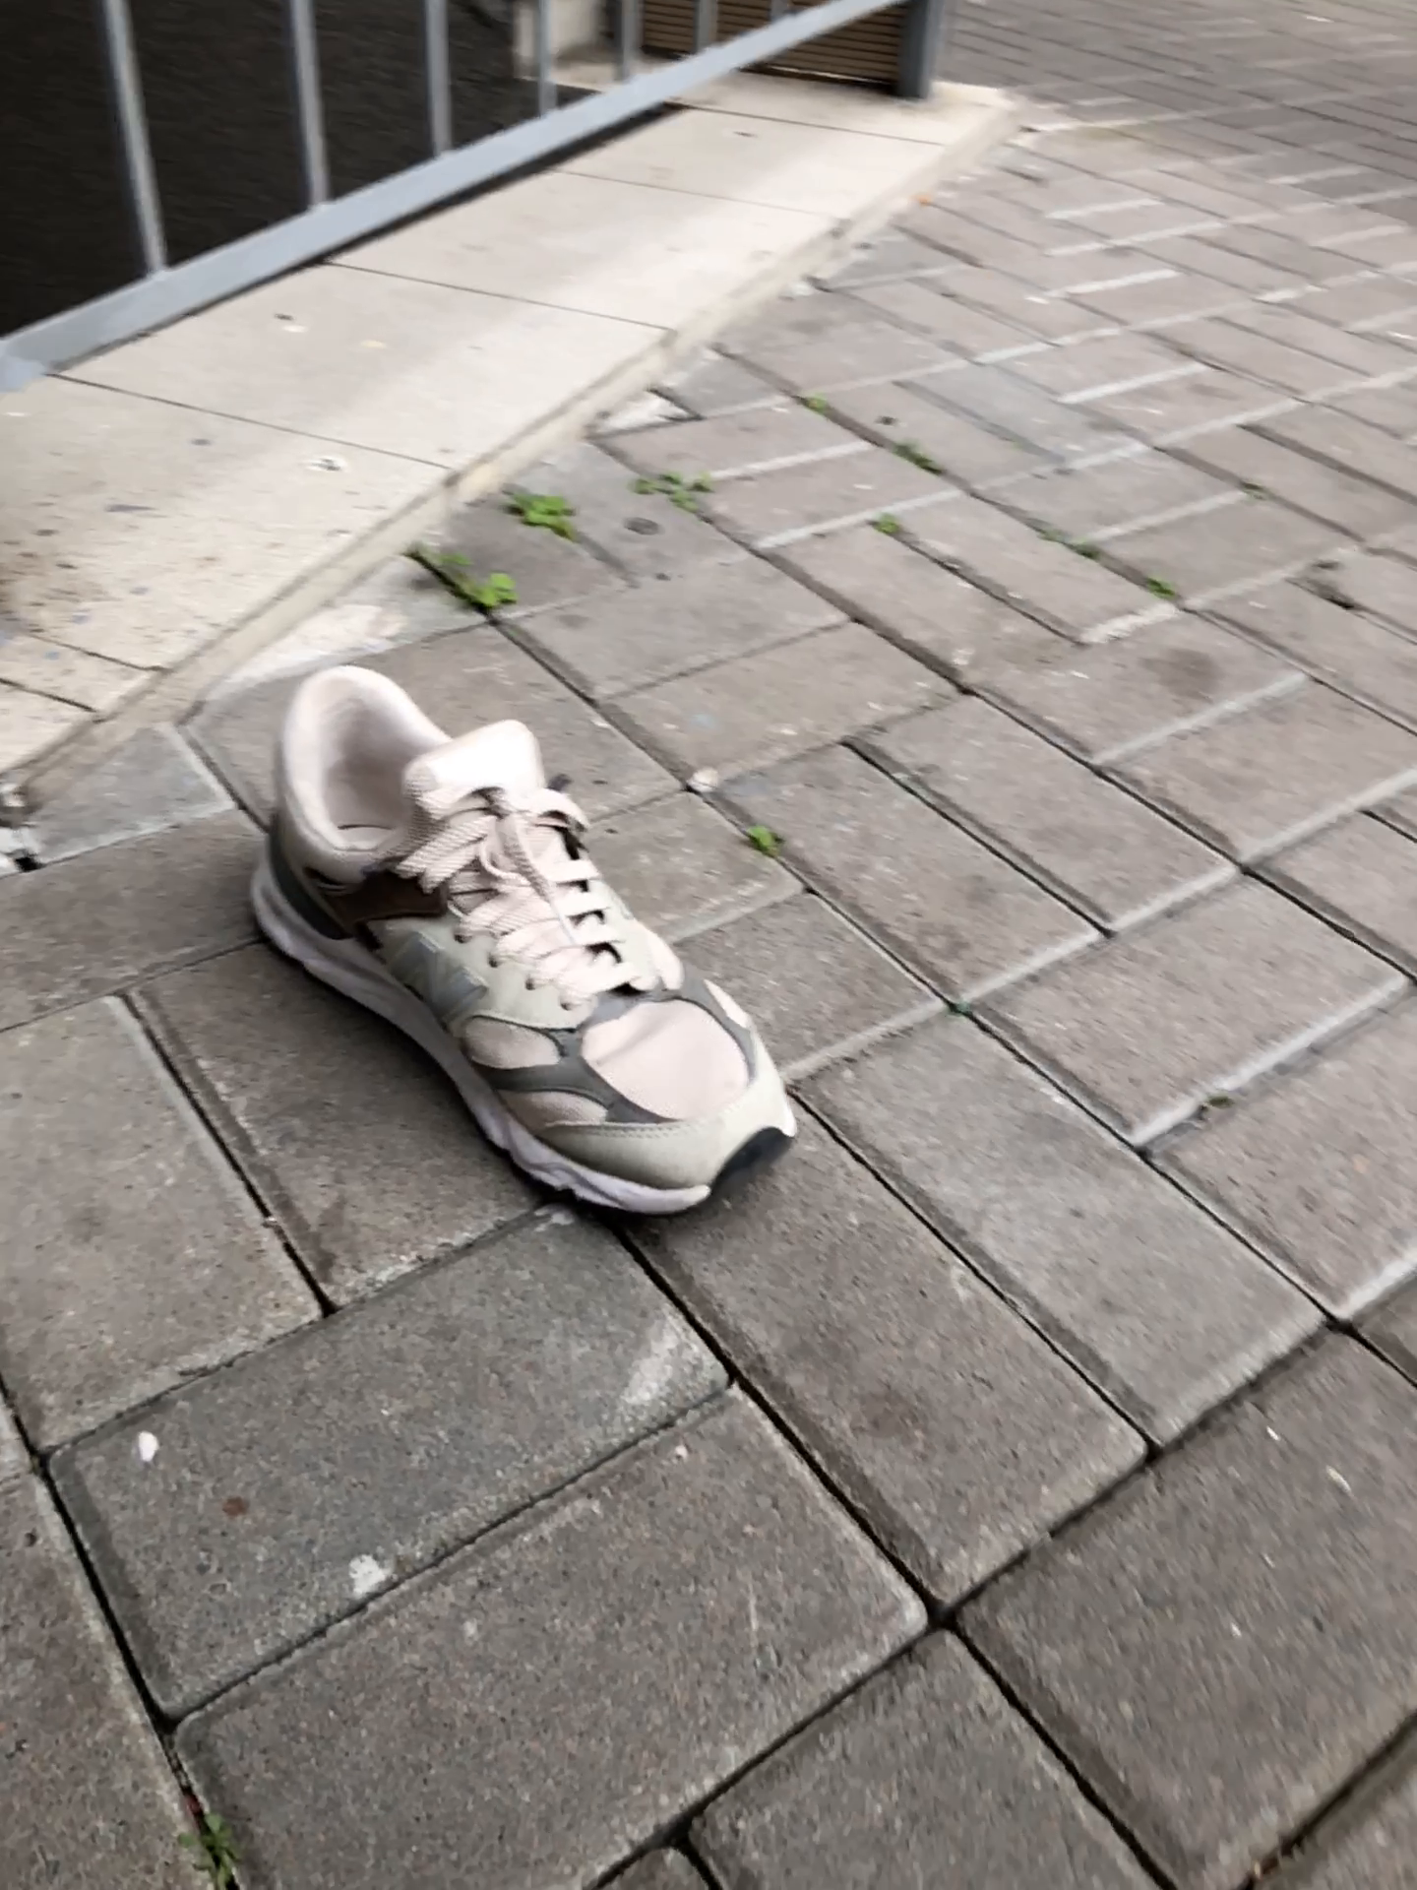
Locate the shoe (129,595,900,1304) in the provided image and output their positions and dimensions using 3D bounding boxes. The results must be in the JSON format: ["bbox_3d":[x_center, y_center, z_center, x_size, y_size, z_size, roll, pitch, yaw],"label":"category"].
[{"bbox_3d":[-0.085,-0.017,0.608,0.120,0.109,0.301,-30,50,-34],"label":"shoe"}]
